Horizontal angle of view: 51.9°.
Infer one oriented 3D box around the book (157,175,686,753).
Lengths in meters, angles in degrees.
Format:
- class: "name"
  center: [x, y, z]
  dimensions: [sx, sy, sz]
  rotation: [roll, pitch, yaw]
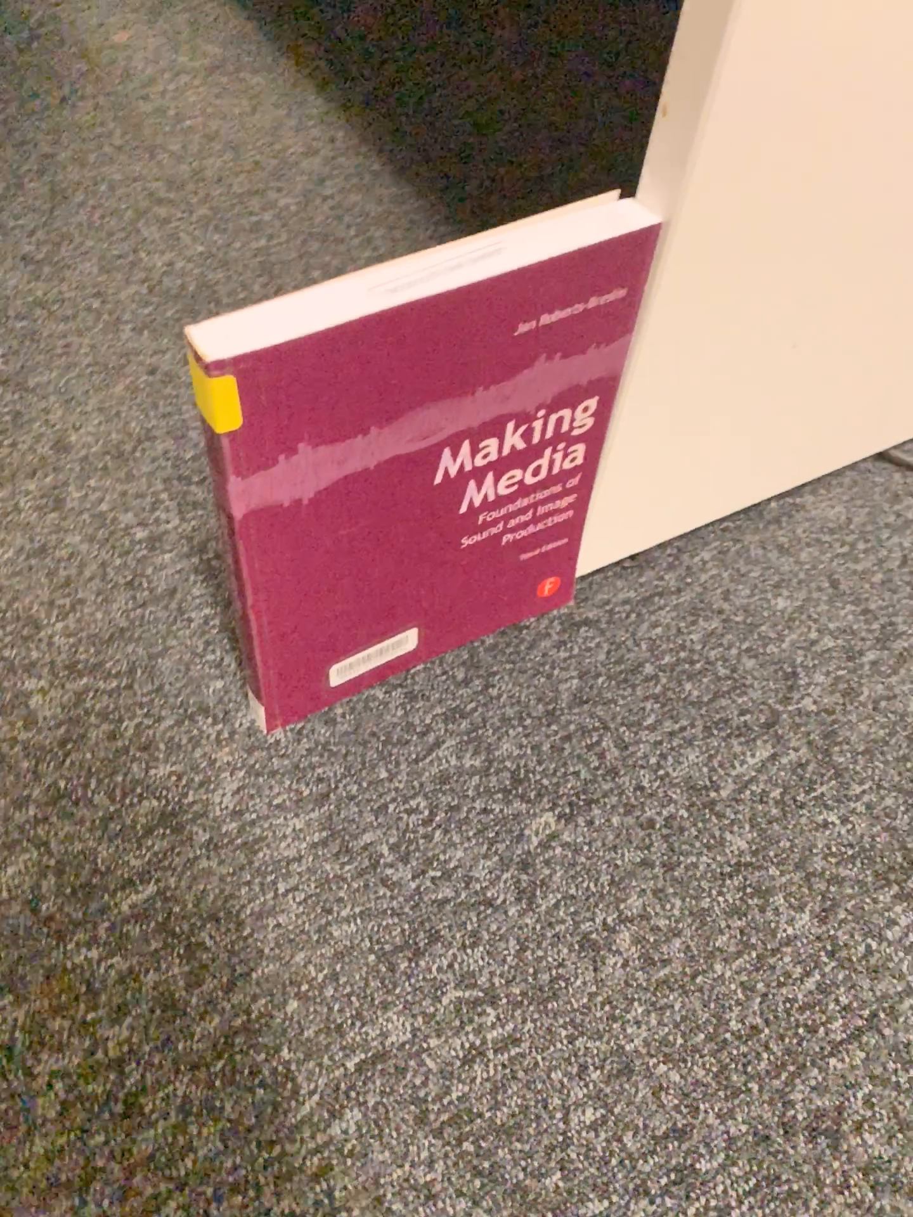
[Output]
- class: "book"
  center: [-0.011, -0.052, 0.421]
  dimensions: [0.201, 0.228, 0.036]
  rotation: [-26, 58, -23]
